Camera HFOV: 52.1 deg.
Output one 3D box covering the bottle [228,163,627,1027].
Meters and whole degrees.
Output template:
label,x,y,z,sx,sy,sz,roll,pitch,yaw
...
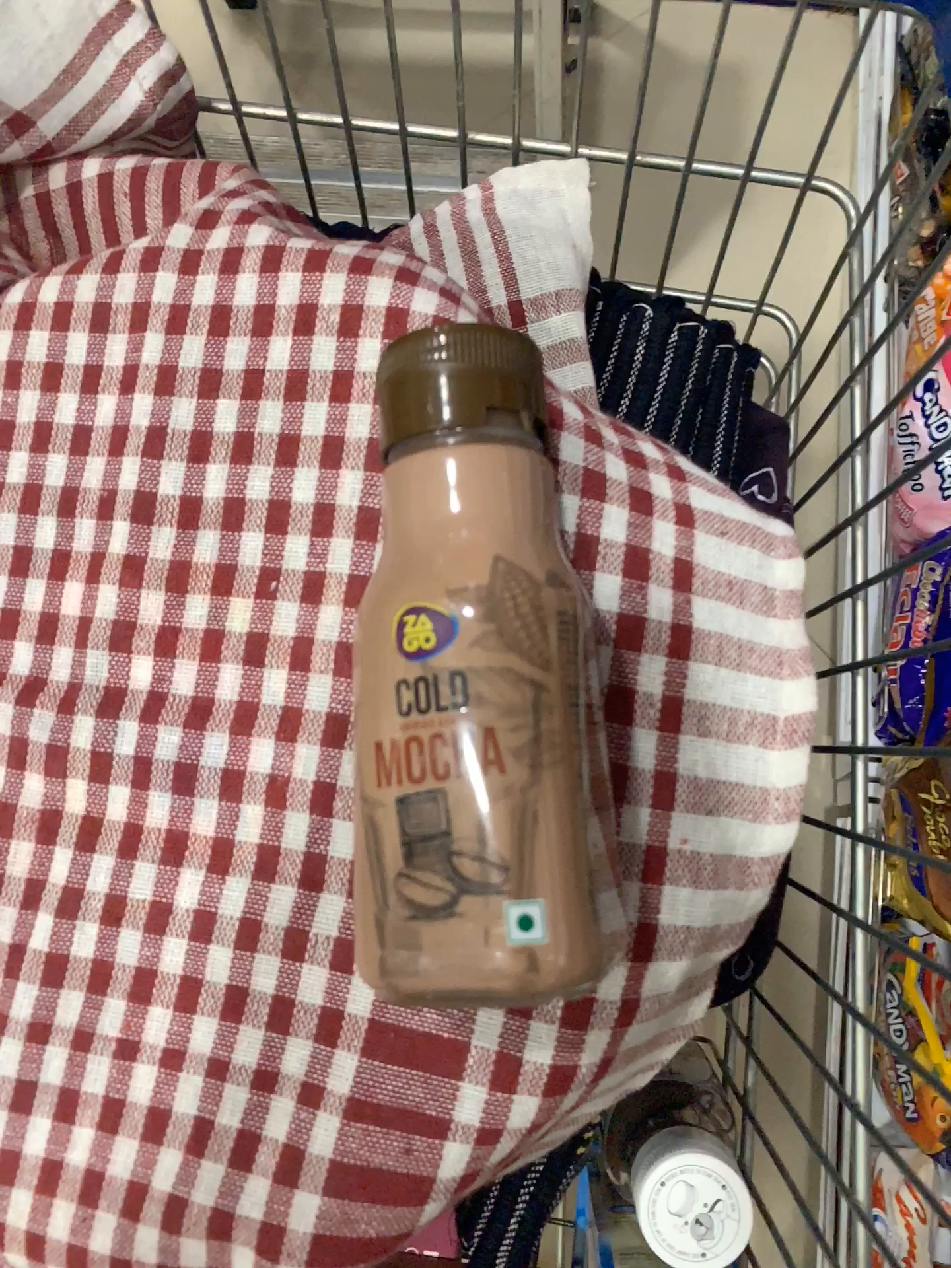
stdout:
label,x,y,z,sx,sy,sz,roll,pitch,yaw
bottle,-0.009,-0.005,0.230,0.060,0.070,0.170,-7,82,17
